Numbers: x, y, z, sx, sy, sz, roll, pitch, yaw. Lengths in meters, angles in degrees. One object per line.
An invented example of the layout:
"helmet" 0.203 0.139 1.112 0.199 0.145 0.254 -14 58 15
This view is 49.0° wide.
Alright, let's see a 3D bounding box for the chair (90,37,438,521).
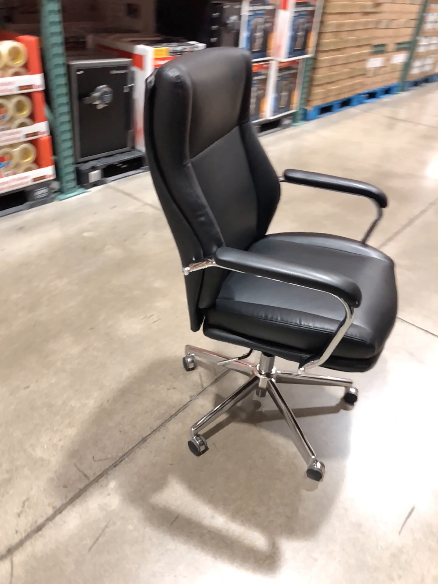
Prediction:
"chair" 0.168 -0.085 1.397 0.701 1.046 0.713 17 35 17
